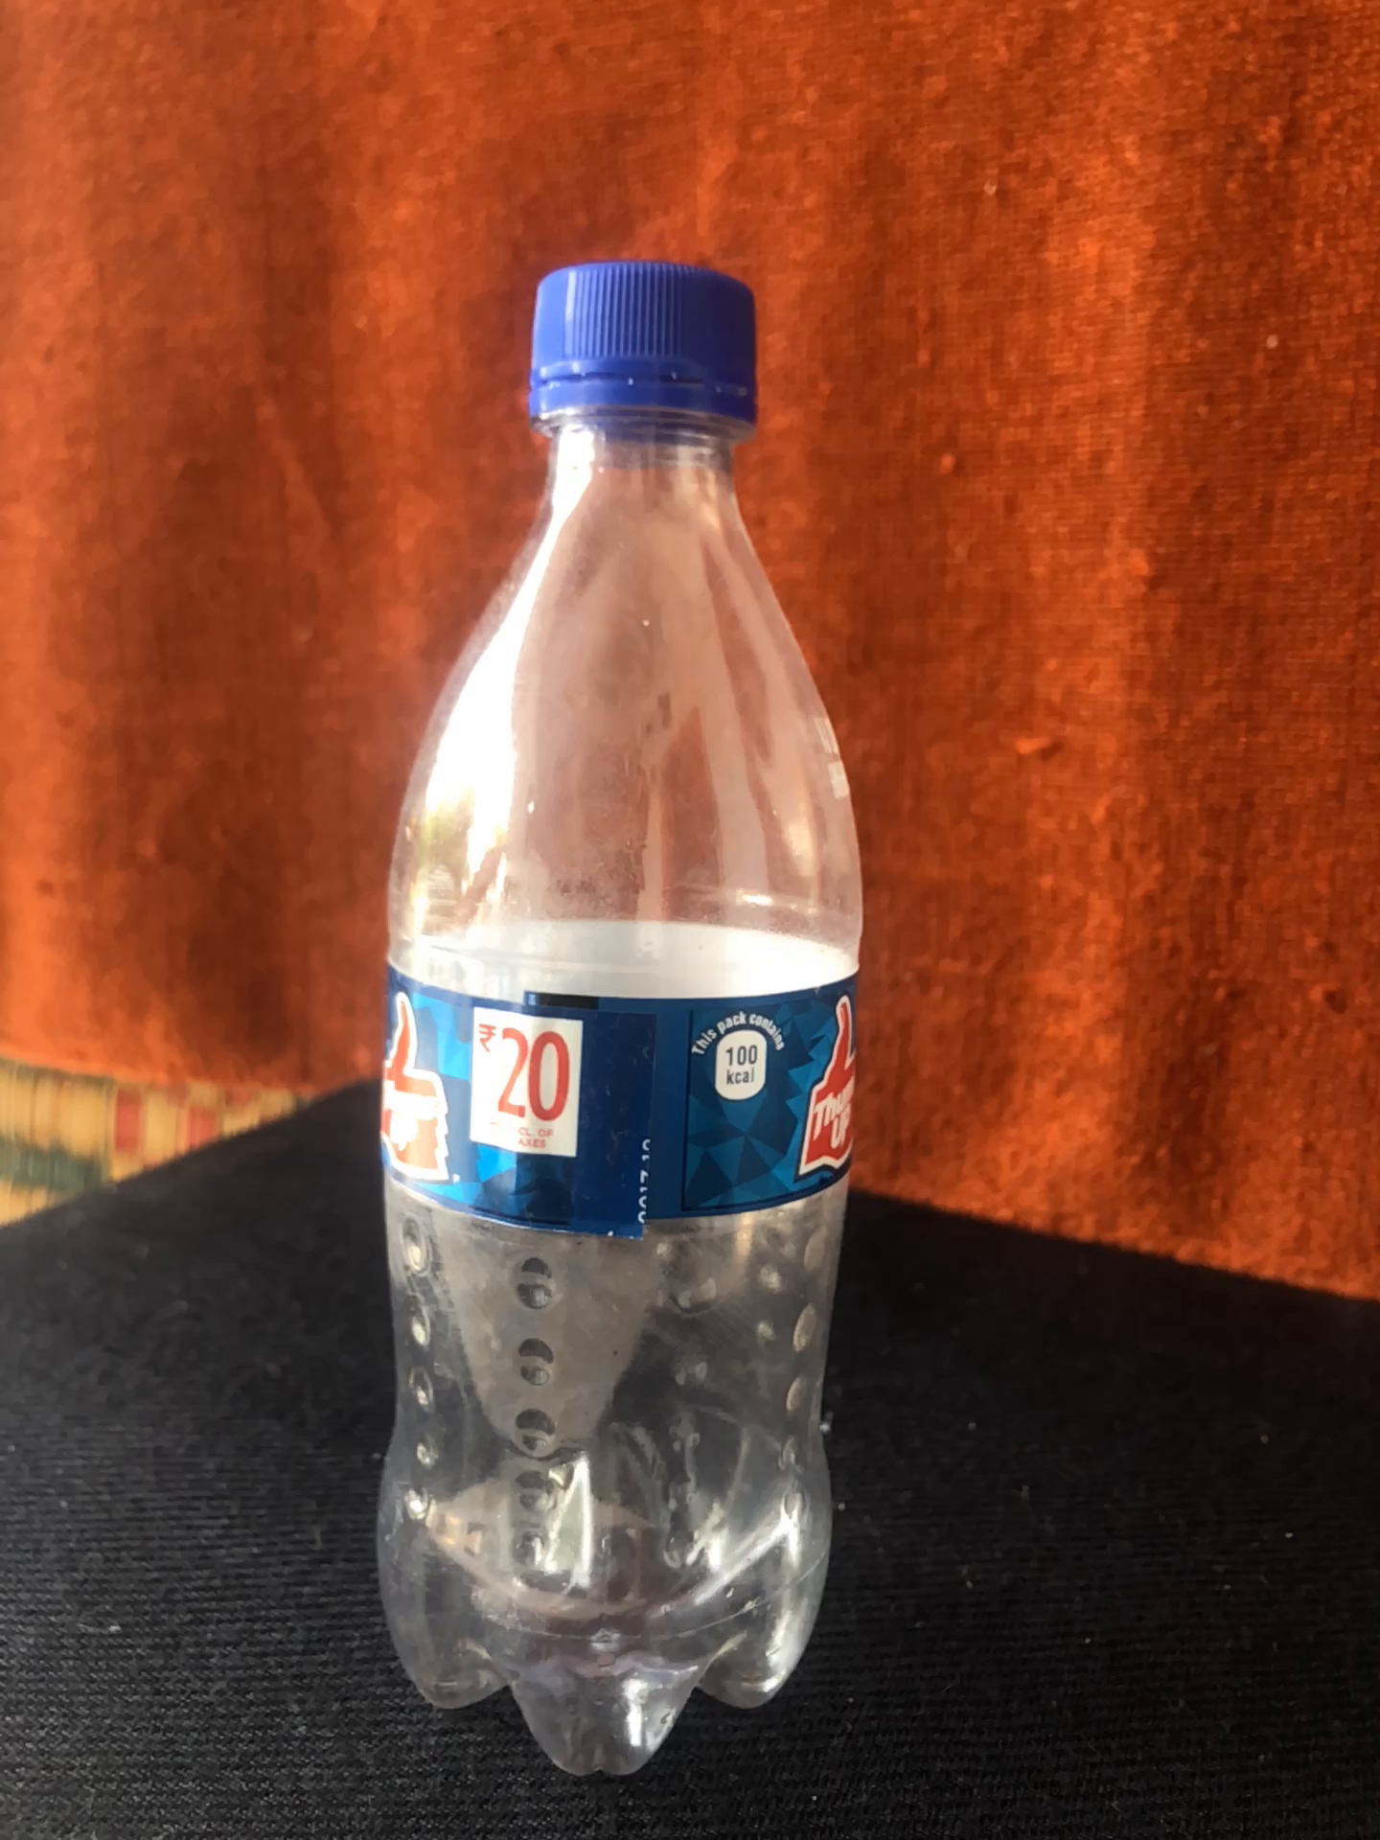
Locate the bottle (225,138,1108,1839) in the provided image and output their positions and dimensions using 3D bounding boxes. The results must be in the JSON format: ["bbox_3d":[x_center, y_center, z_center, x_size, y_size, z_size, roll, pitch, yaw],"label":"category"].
[{"bbox_3d":[-0.002,0.009,0.151,0.060,0.140,0.050,8,14,28],"label":"bottle"}]
